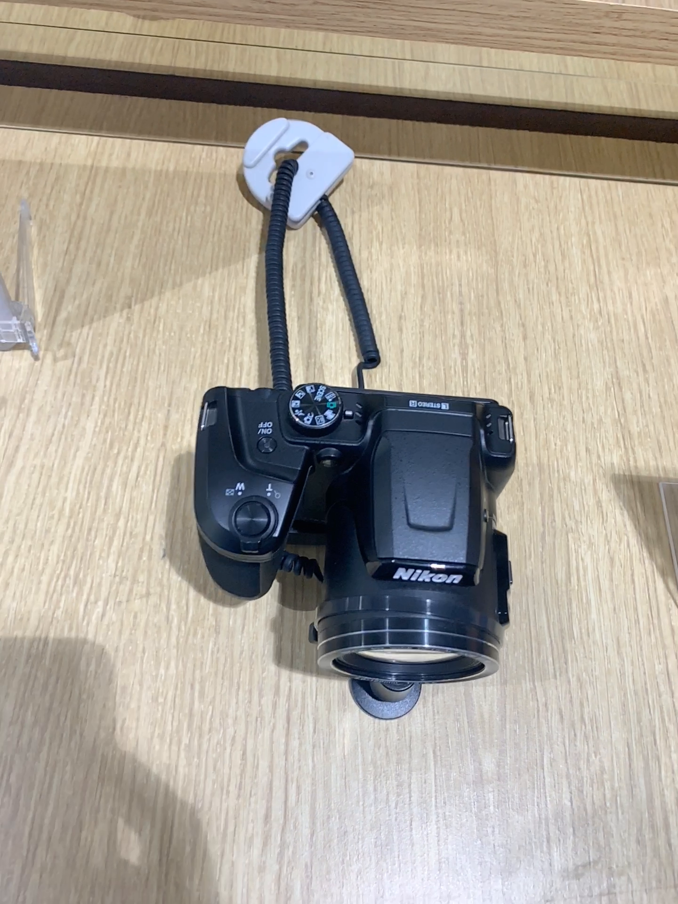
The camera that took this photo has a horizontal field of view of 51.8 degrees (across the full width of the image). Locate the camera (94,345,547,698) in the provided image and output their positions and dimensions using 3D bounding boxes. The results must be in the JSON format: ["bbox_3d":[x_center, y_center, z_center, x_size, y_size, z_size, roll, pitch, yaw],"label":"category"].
[{"bbox_3d":[-0.005,0.028,0.241,0.120,0.080,0.090,4,63,-3],"label":"camera"}]
